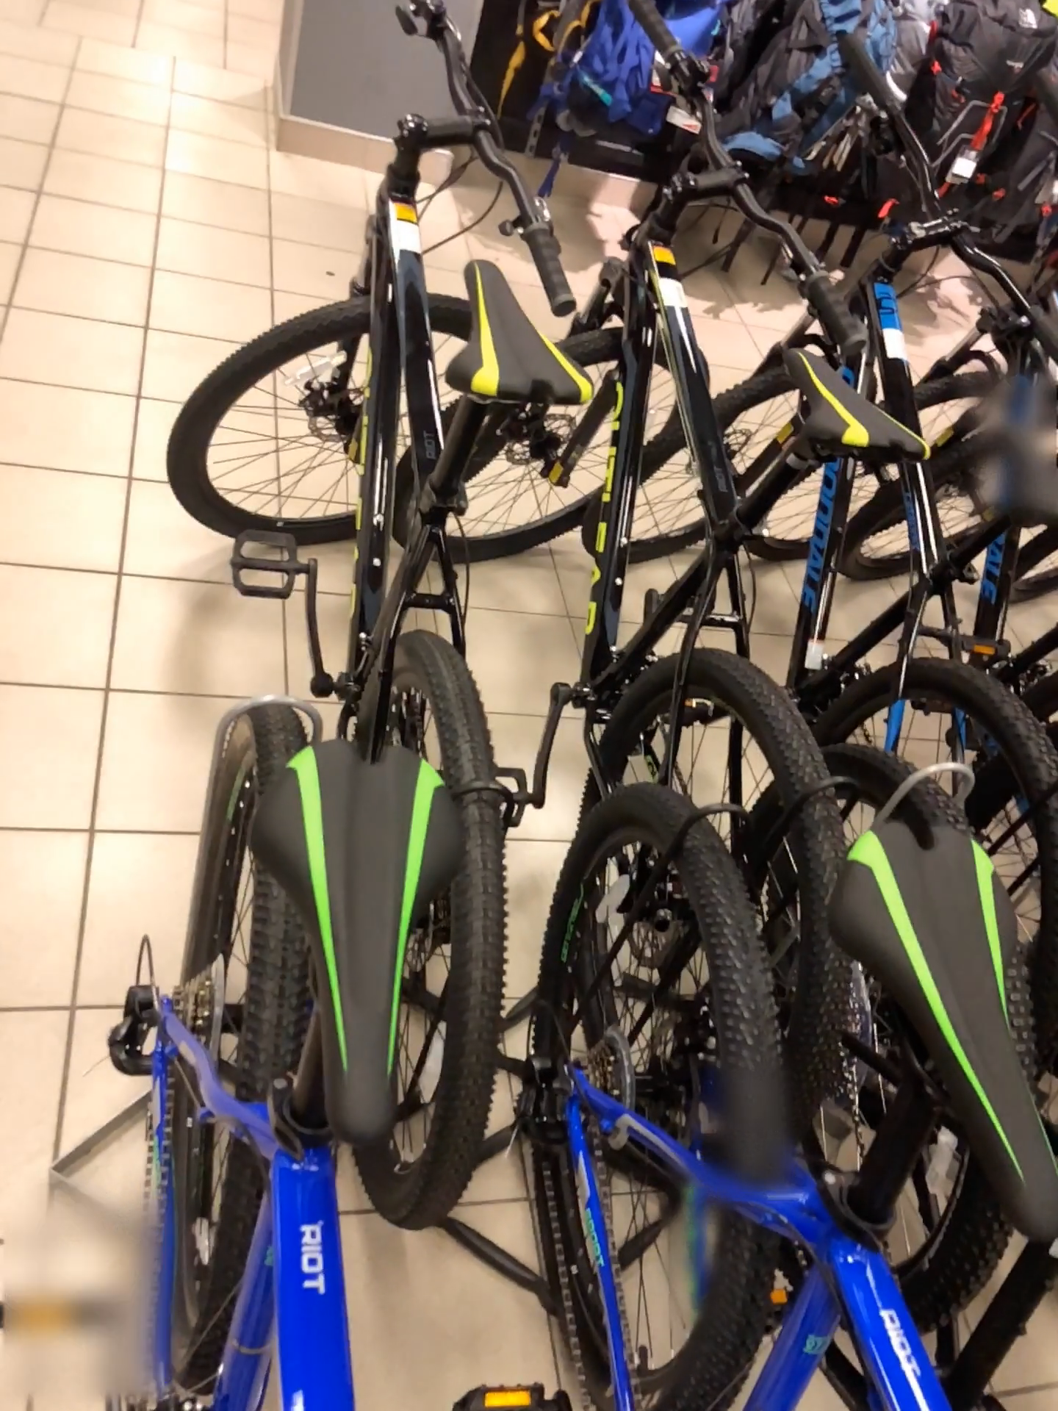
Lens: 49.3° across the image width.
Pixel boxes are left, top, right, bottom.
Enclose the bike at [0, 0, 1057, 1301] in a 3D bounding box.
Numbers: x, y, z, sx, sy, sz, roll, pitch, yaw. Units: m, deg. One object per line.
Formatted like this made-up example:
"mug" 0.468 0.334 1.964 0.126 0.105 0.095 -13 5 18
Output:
"bike" -0.350 -0.136 1.416 0.662 1.043 1.357 -4 46 -25
